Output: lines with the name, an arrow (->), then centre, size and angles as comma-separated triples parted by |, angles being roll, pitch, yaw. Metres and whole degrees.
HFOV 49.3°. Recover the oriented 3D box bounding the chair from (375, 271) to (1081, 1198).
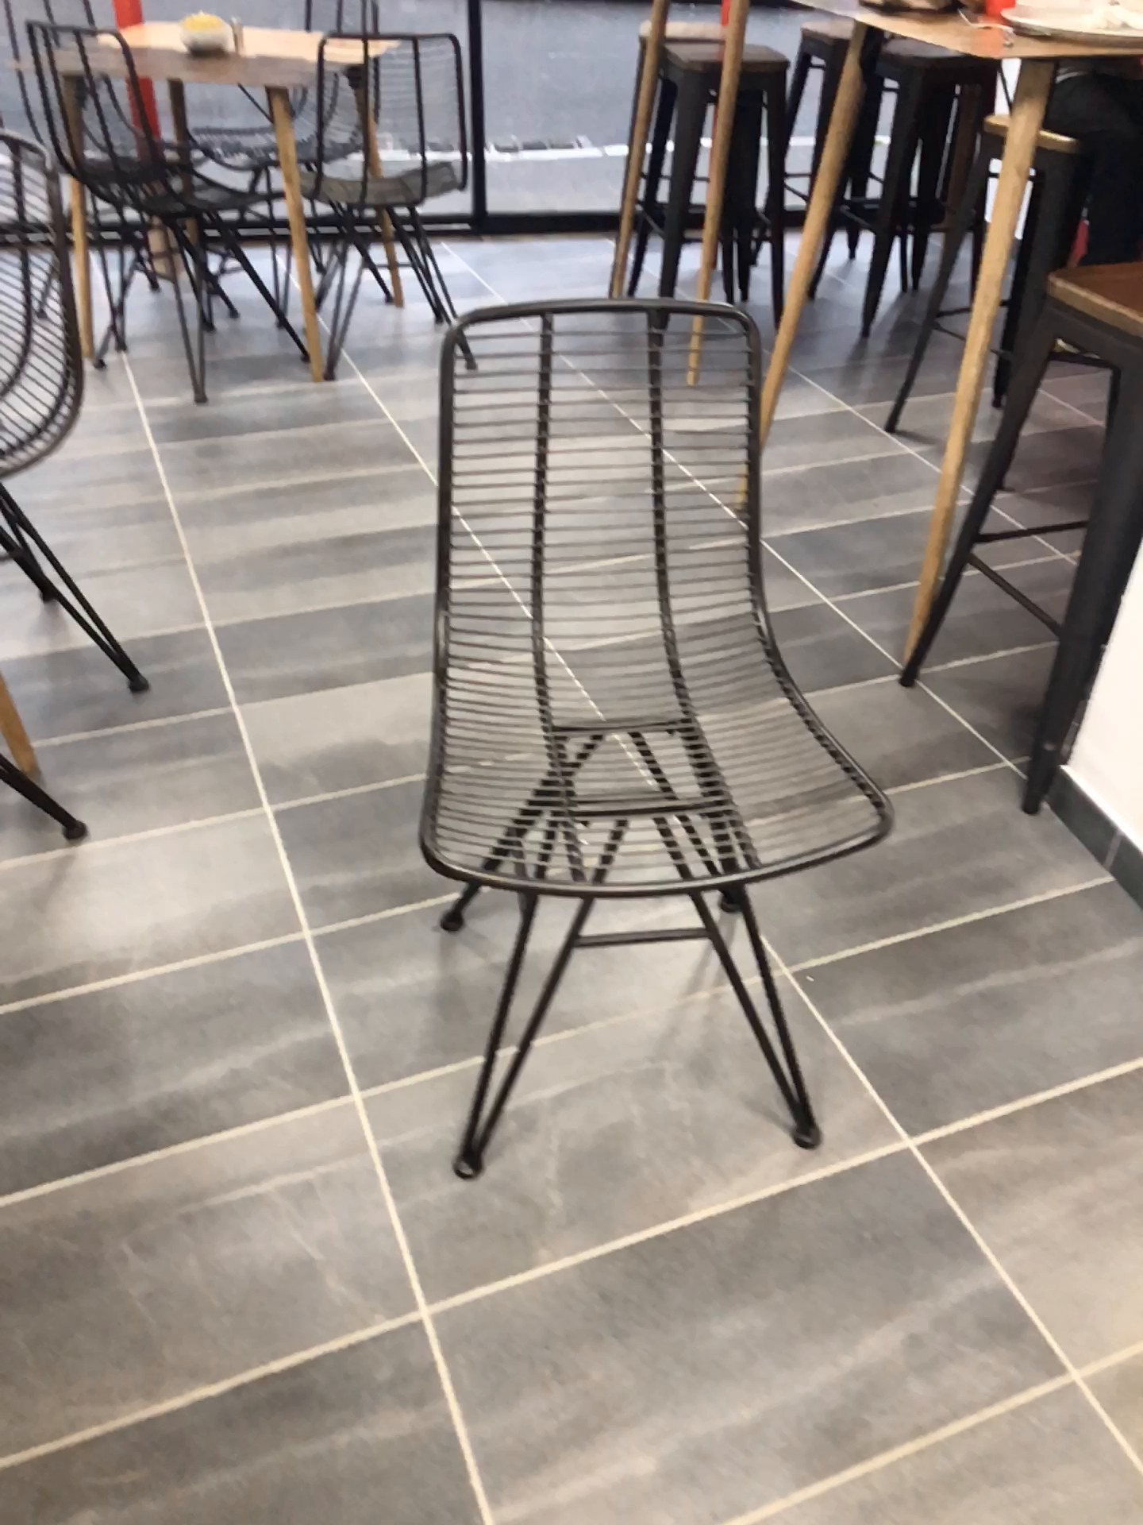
chair -> 0.074, -0.031, 1.303 | 0.500, 0.785, 0.523 | -3, 37, -7
